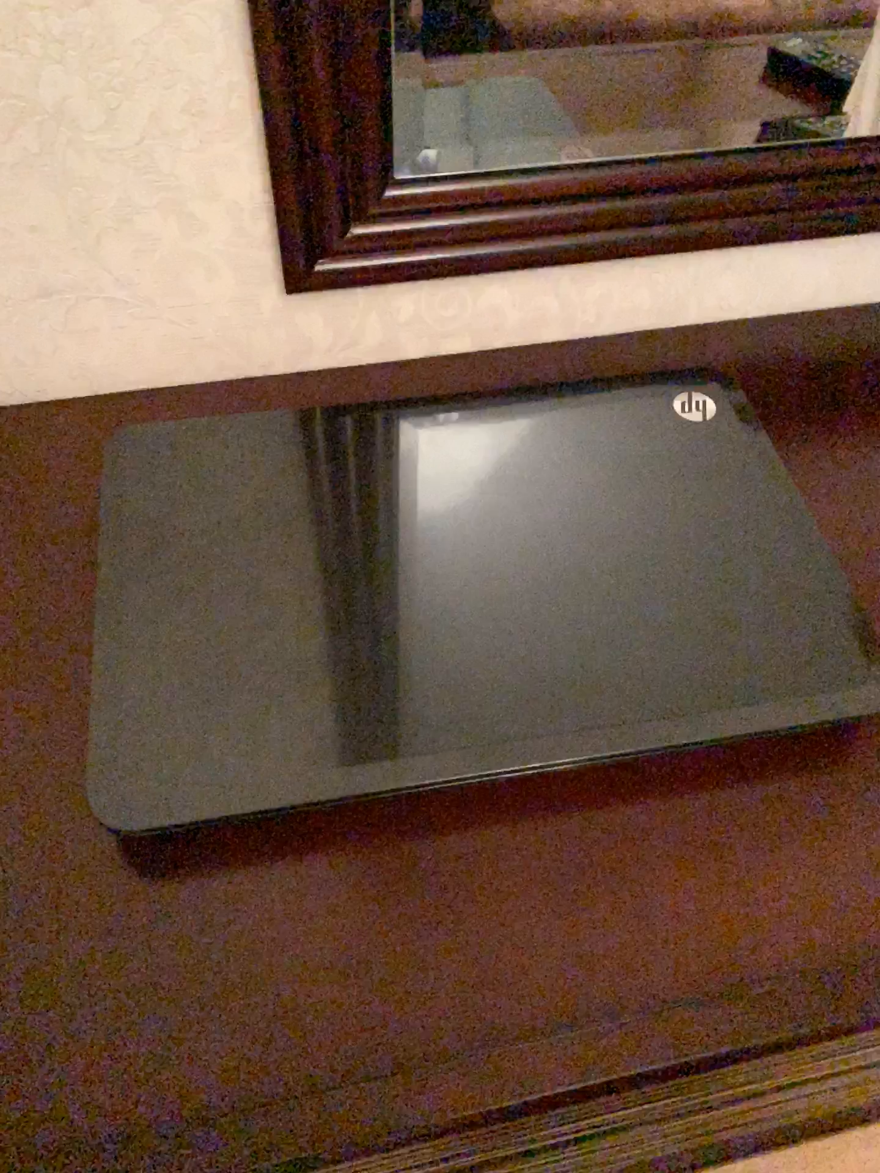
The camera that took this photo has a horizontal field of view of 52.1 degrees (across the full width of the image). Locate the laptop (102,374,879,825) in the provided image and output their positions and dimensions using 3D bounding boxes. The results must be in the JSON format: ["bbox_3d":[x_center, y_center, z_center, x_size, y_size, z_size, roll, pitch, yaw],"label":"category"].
[{"bbox_3d":[0.016,-0.016,0.445,0.344,0.003,0.223,-7,54,-8],"label":"laptop"}]
